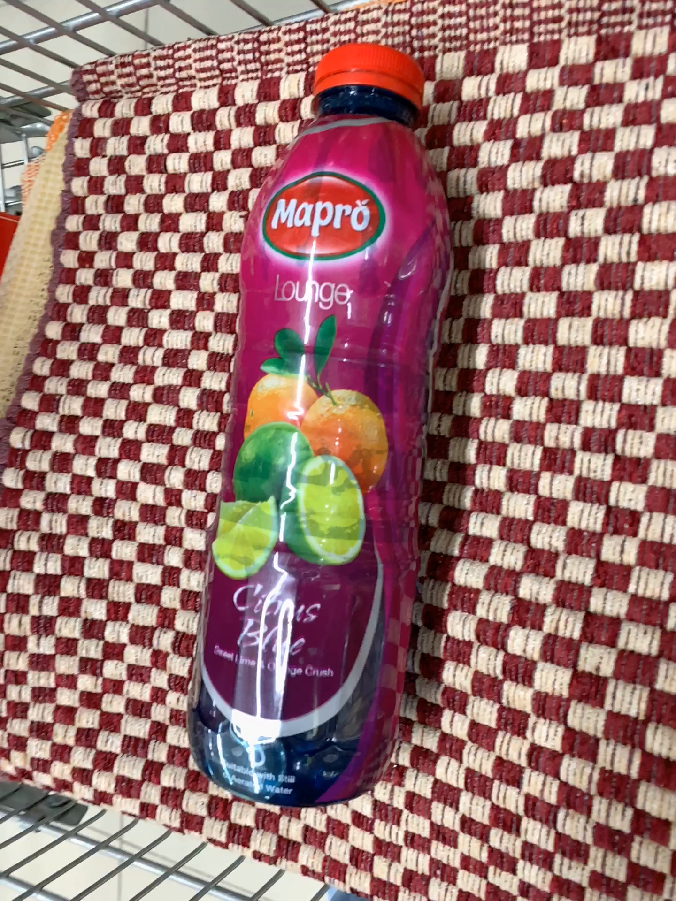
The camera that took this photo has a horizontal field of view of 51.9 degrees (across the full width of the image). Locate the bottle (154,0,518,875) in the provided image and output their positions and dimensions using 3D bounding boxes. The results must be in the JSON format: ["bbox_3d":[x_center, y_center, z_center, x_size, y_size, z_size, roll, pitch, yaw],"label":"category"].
[{"bbox_3d":[0.001,-0.004,0.240,0.090,0.070,0.250,7,98,16],"label":"bottle"}]
